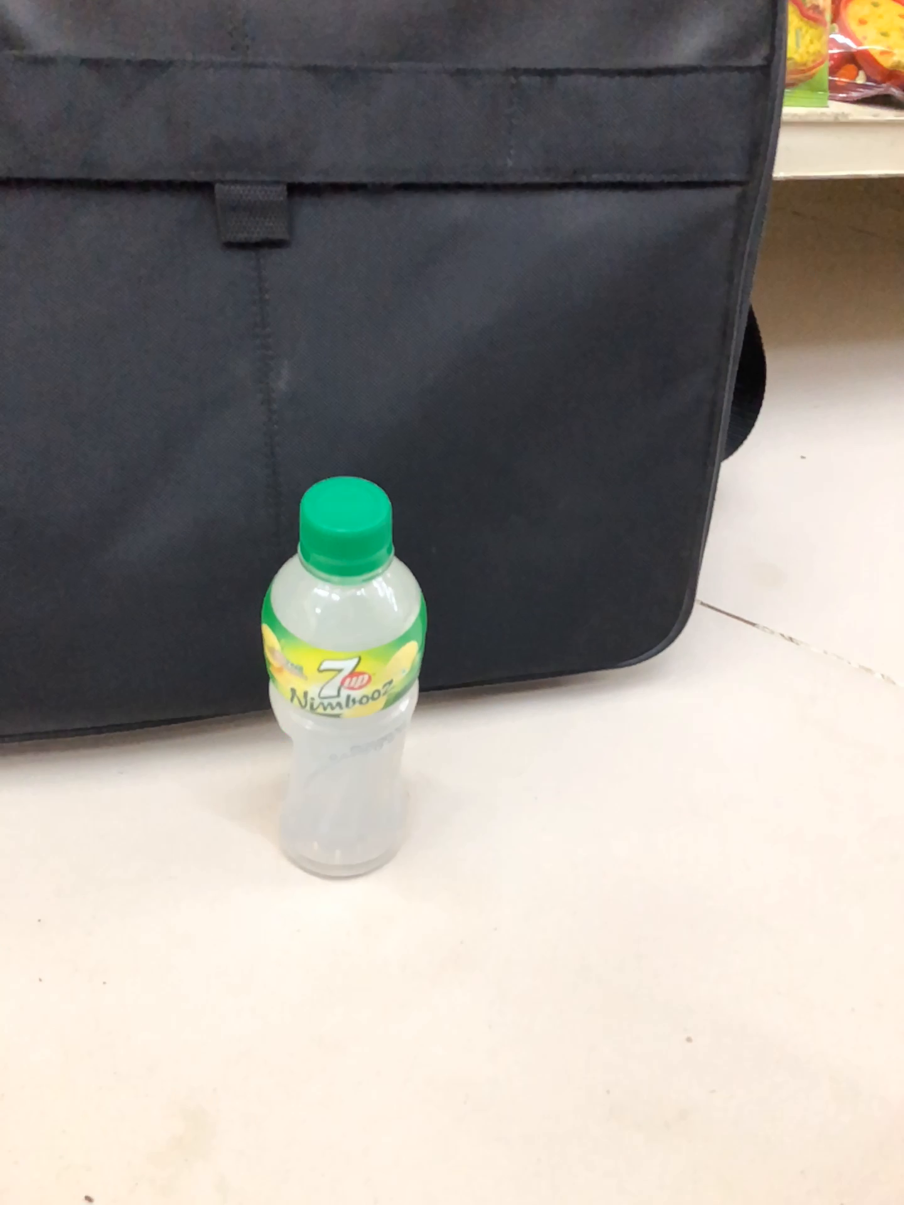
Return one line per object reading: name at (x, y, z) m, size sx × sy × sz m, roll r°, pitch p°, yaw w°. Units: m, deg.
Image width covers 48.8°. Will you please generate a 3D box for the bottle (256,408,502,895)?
bottle at (-0.033, 0.027, 0.379) m, size 0.070 × 0.189 × 0.070 m, roll 3°, pitch 44°, yaw -3°
